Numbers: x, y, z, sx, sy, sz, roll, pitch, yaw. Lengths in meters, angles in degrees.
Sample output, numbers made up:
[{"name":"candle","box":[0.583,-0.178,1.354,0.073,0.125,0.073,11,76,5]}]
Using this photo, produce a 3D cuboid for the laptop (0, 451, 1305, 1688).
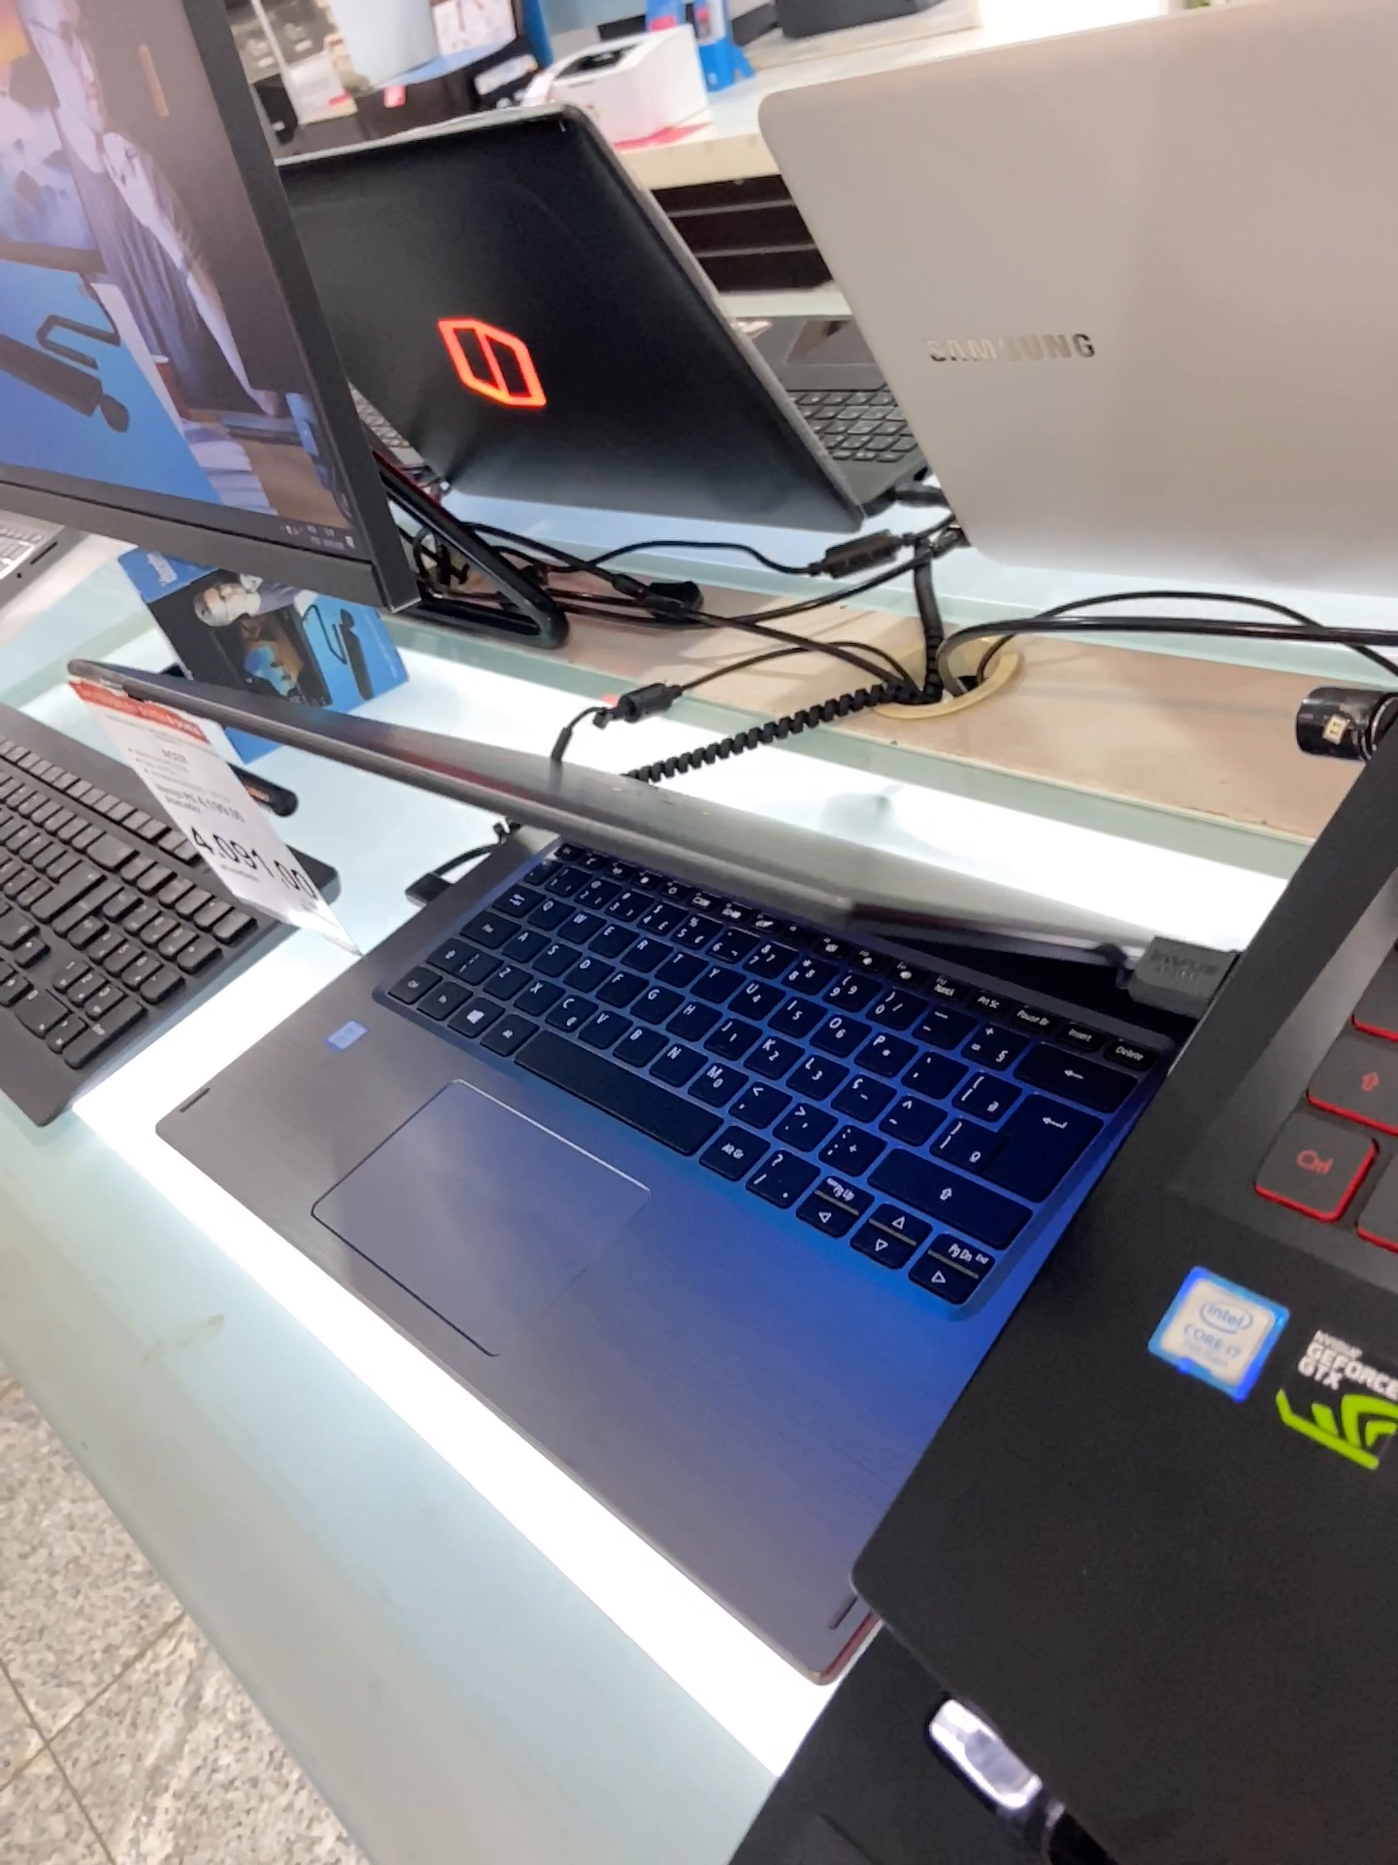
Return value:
[{"name":"laptop","box":[-0.040,-0.009,0.419,0.329,0.154,0.219,20,54,43]}]
